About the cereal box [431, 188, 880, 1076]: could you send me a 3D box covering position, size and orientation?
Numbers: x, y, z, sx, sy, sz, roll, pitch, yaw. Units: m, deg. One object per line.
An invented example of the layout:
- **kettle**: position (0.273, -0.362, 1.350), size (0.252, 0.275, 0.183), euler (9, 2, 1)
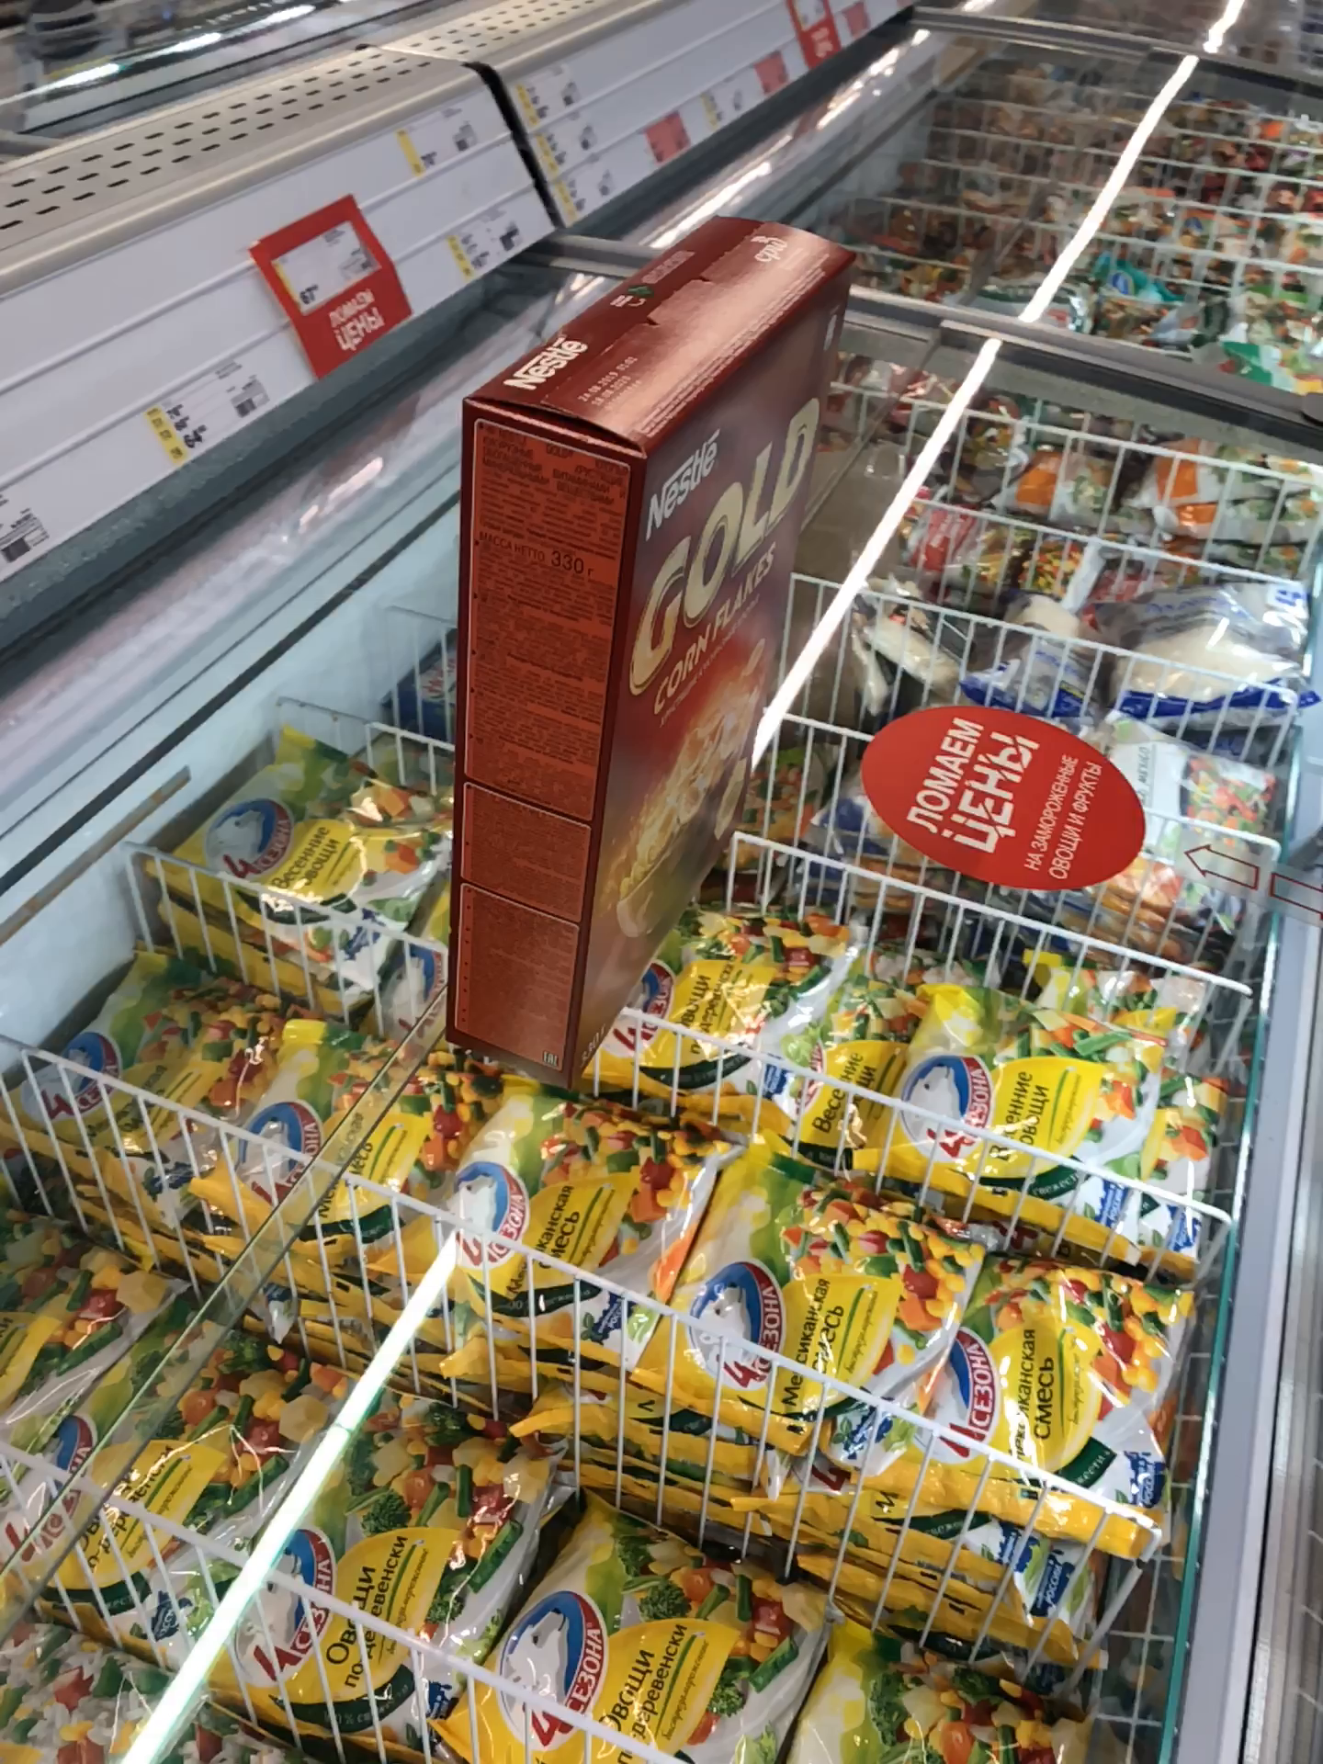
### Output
- **cereal box**: position (-0.005, -0.093, 0.549), size (0.060, 0.258, 0.211), euler (21, 43, 12)
